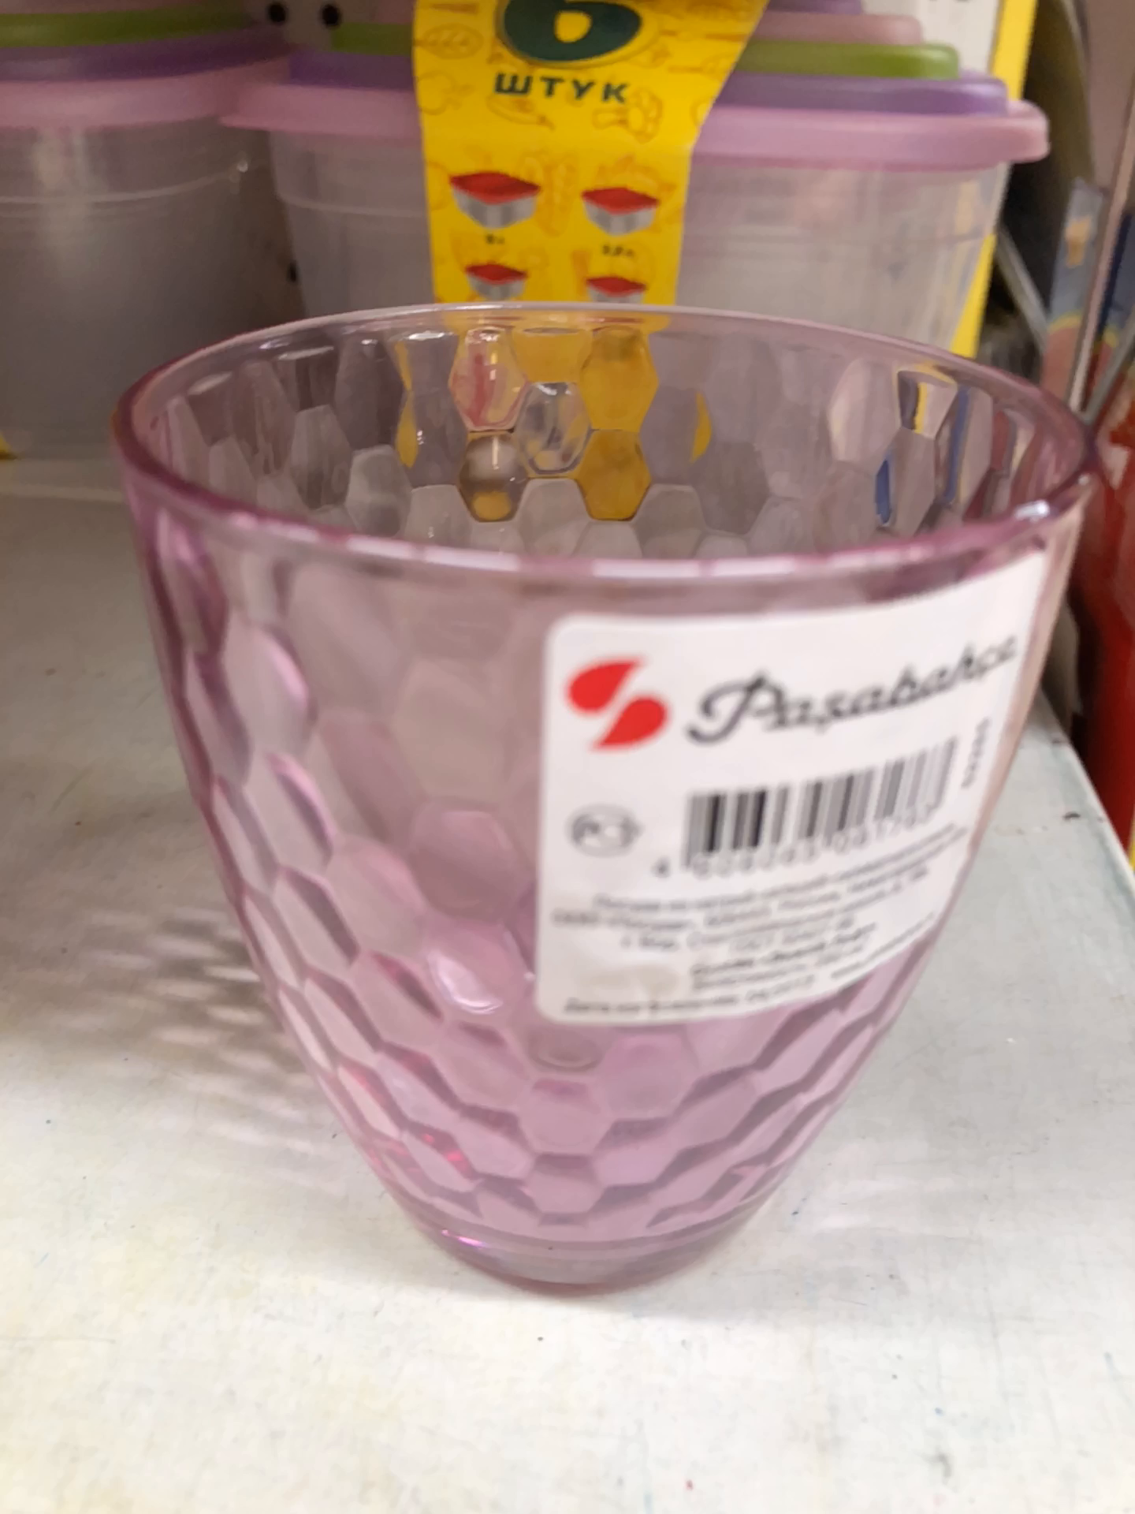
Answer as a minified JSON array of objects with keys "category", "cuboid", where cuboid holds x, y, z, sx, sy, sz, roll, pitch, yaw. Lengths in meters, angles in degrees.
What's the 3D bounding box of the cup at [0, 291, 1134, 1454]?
[{"category":"cup","cuboid":[0.005,0.001,0.126,0.090,0.074,0.078,-4,31,-10]}]
